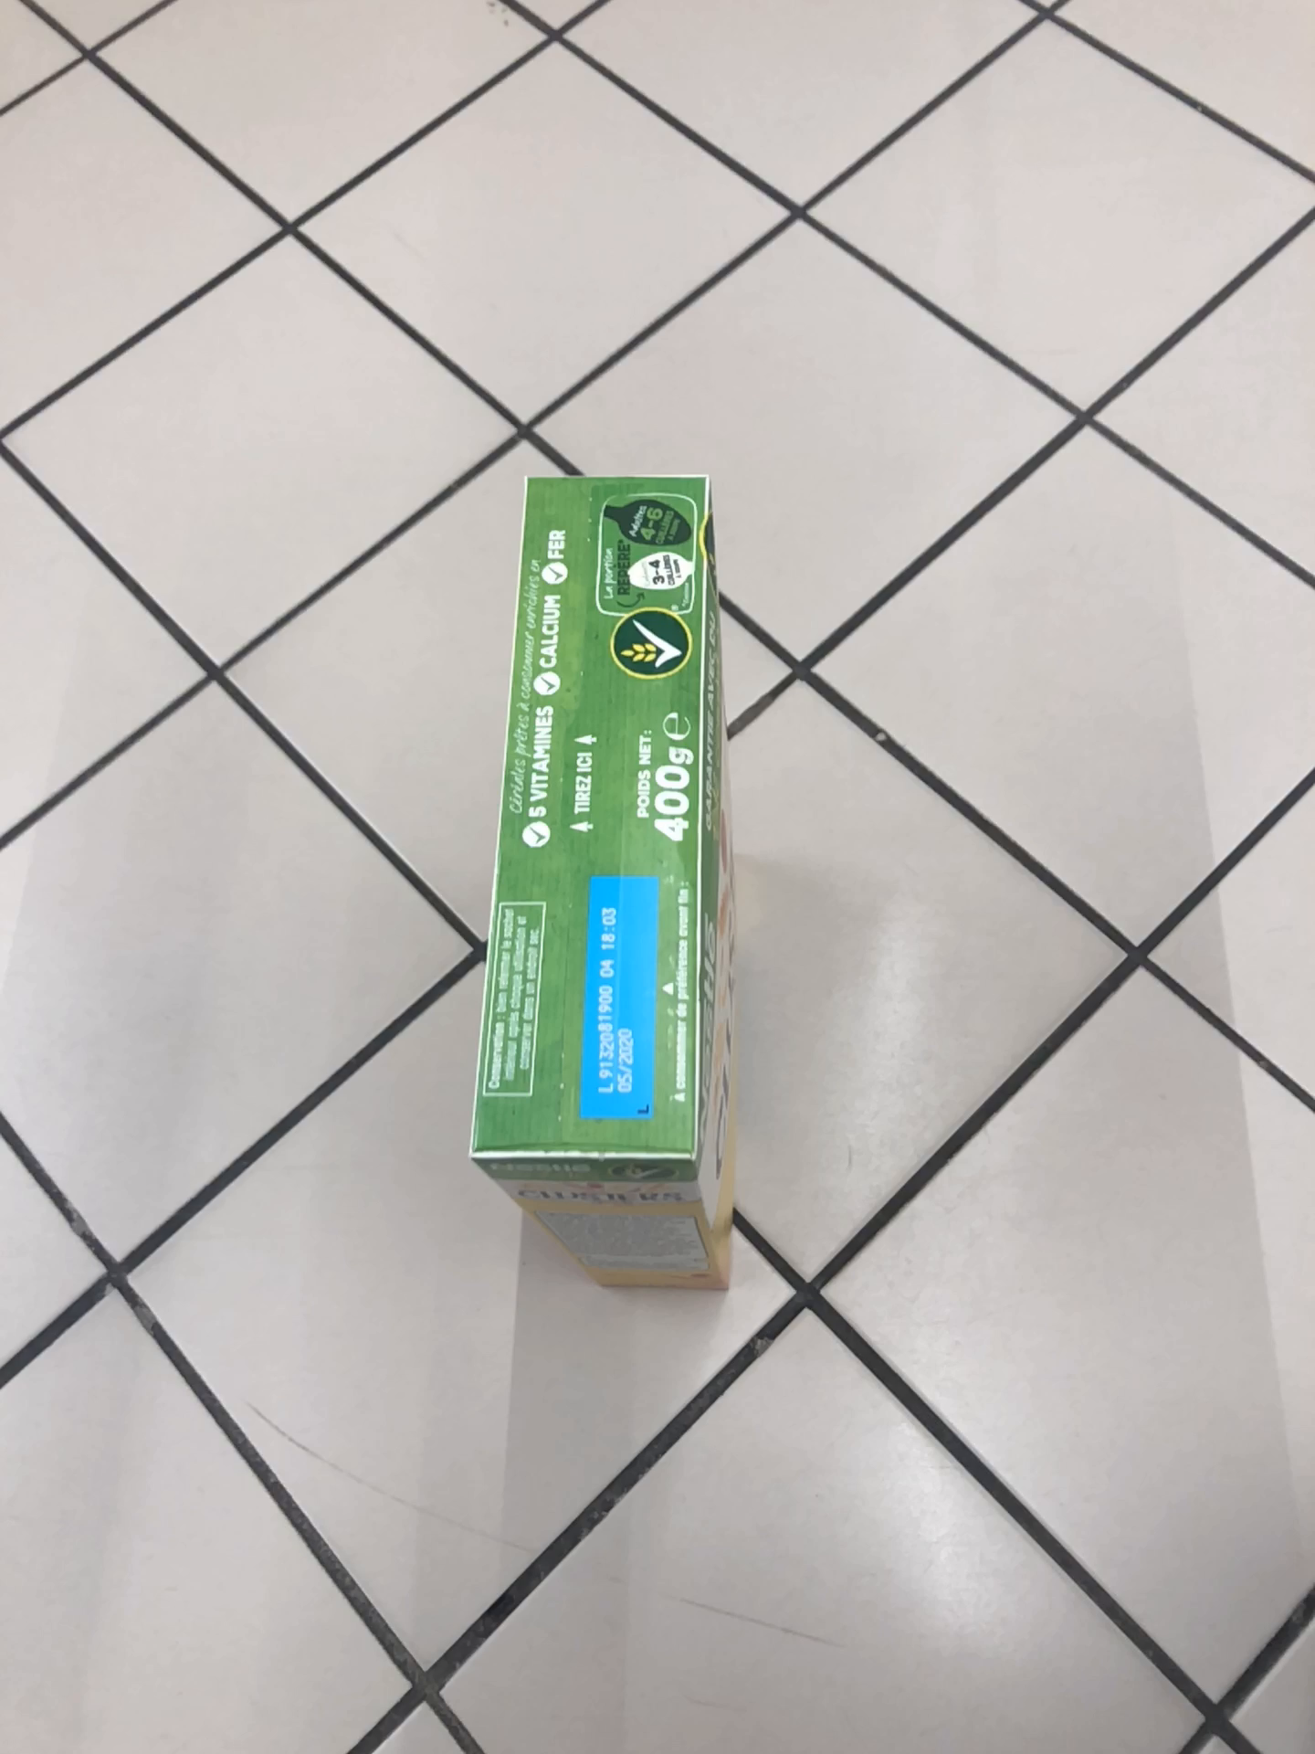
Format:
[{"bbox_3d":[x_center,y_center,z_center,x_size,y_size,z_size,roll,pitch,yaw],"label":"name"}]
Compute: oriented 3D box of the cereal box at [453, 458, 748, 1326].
[{"bbox_3d":[-0.003,0.030,0.494,0.060,0.269,0.211,1,68,5],"label":"cereal box"}]
